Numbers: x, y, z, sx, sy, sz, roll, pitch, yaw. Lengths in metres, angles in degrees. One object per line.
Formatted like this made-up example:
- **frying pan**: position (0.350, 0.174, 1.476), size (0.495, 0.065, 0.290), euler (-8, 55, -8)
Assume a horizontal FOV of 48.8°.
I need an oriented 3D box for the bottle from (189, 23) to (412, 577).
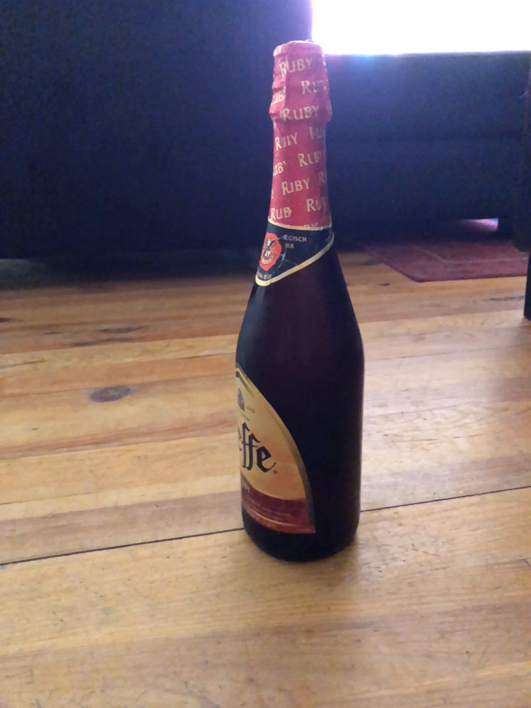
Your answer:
- **bottle**: position (0.017, -0.024, 0.348), size (0.090, 0.289, 0.090), euler (-2, 20, 1)
